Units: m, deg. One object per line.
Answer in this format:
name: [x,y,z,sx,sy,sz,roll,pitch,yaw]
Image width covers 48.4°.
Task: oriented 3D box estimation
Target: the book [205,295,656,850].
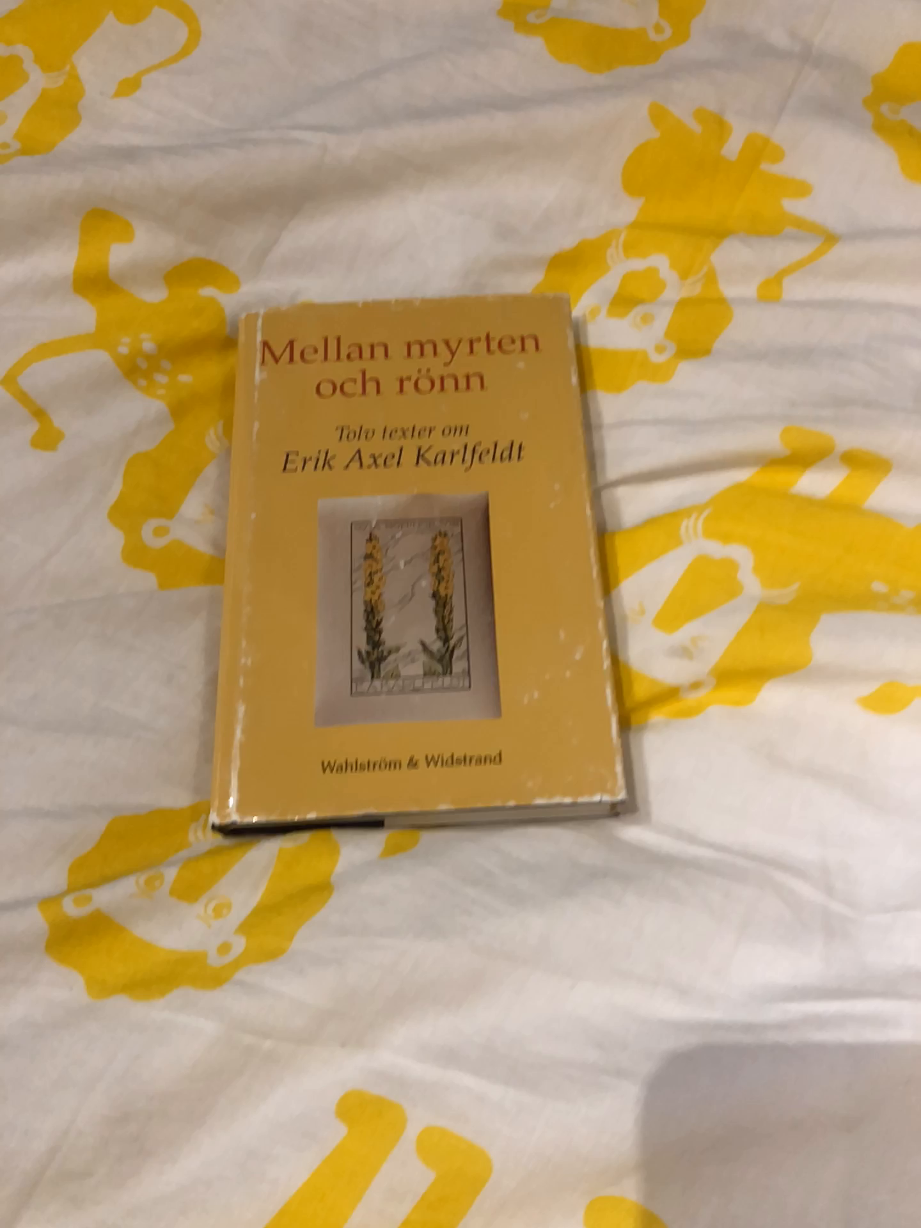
book: [-0.014,-0.026,0.383,0.141,0.030,0.215,-2,63,-1]
